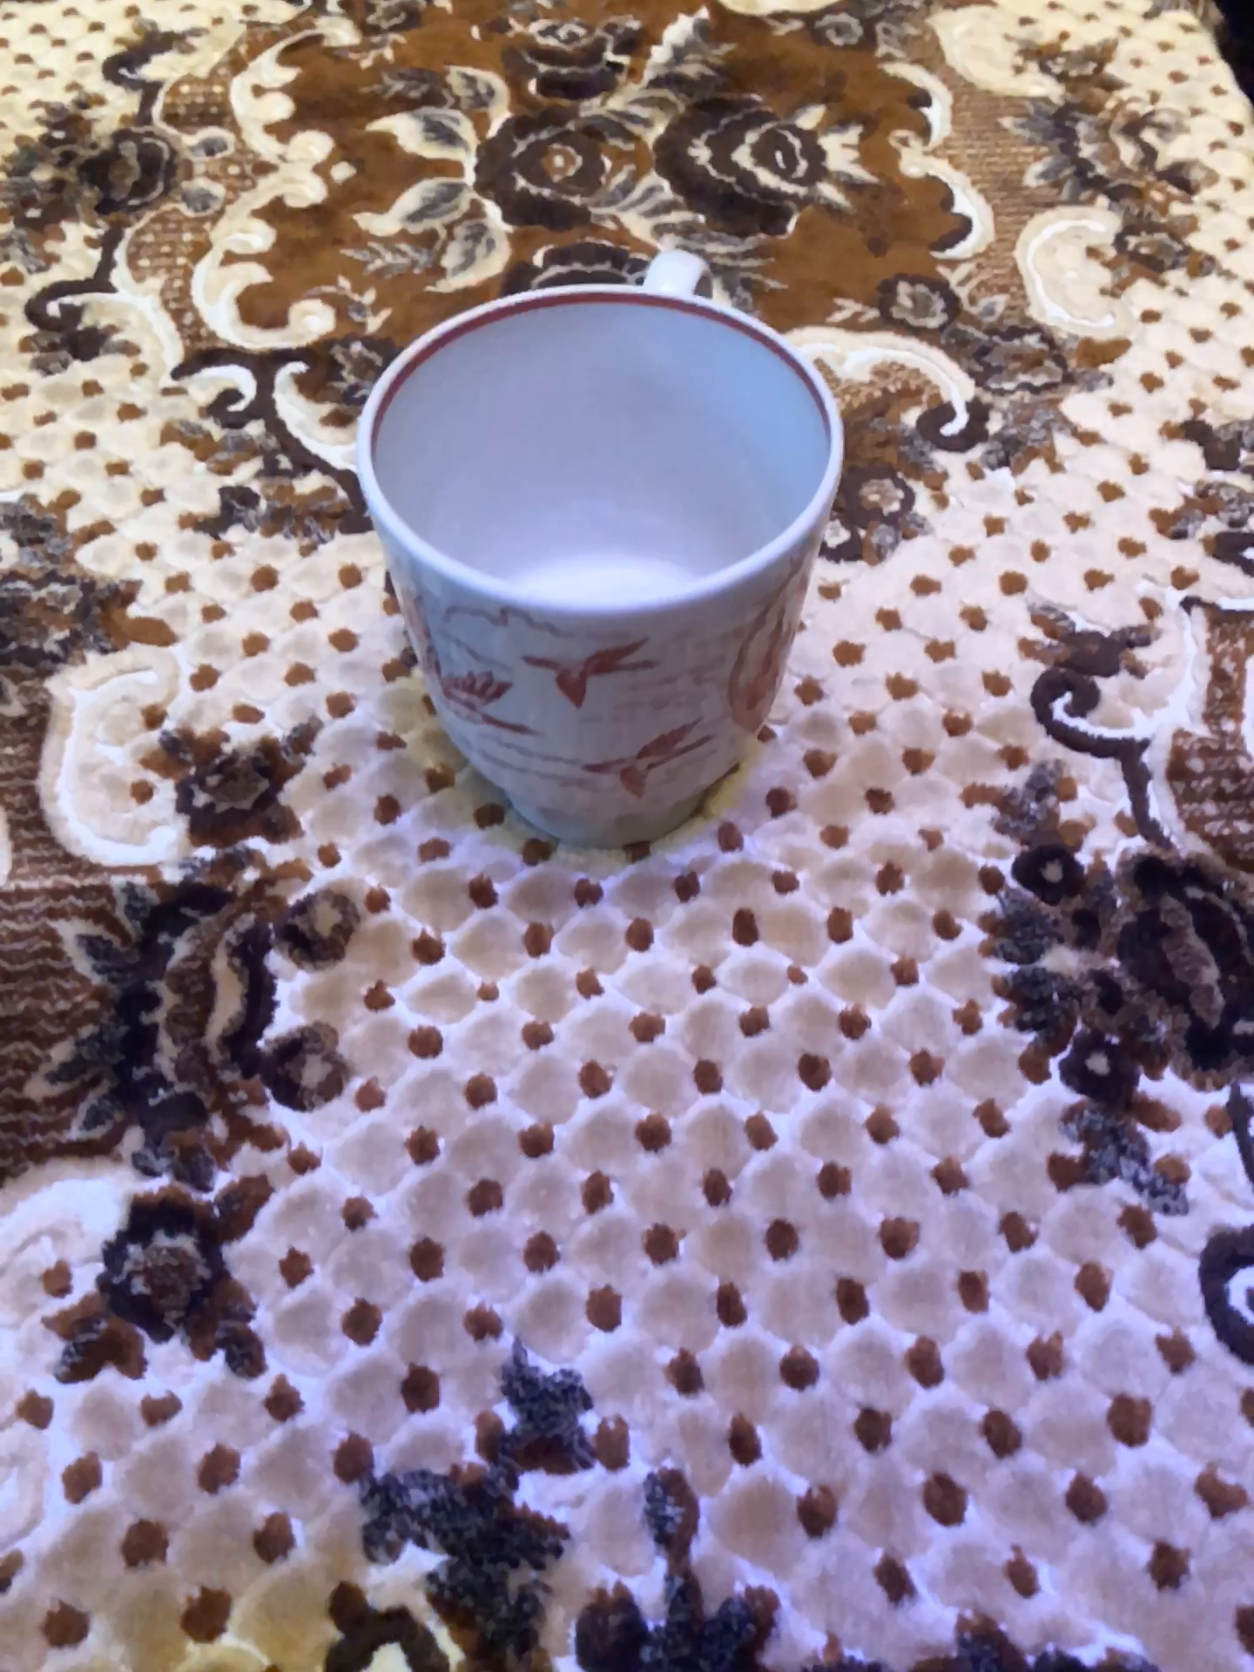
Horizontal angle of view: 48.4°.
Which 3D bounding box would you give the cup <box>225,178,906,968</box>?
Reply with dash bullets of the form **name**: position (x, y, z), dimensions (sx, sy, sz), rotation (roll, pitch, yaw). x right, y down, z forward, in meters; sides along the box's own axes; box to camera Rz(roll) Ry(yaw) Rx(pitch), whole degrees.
- **cup**: position (-0.004, -0.059, 0.301), dimensions (0.100, 0.090, 0.131), rotation (10, 56, 8)
